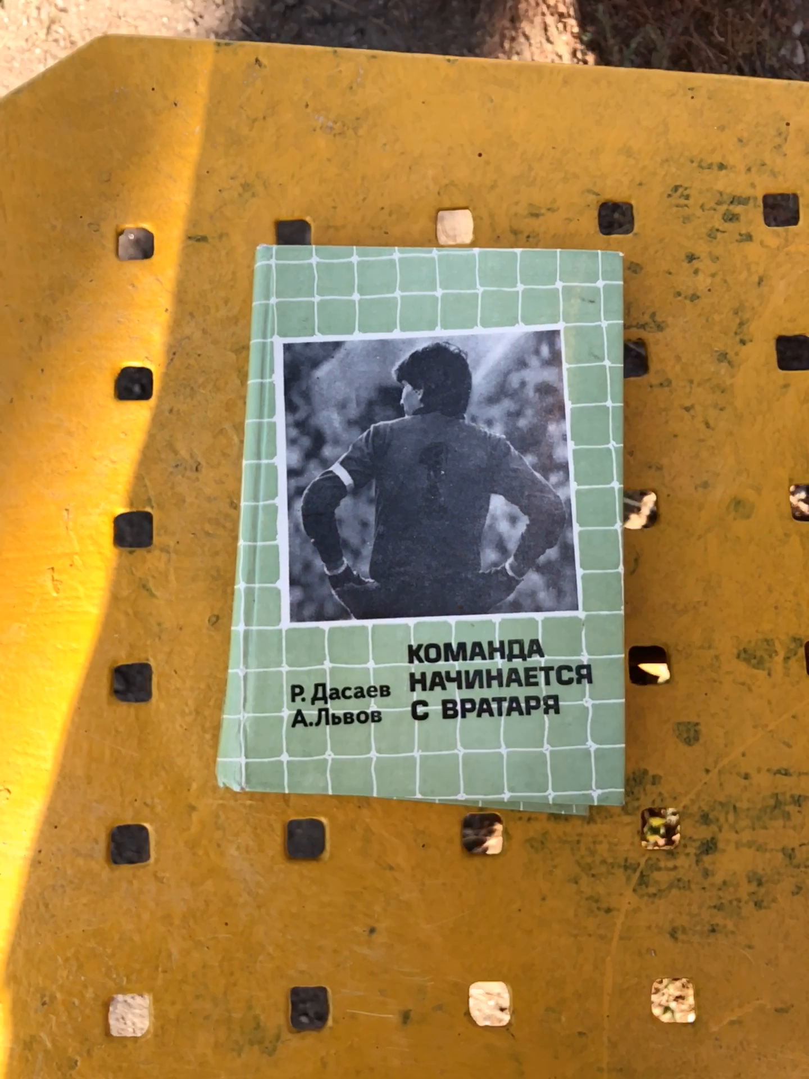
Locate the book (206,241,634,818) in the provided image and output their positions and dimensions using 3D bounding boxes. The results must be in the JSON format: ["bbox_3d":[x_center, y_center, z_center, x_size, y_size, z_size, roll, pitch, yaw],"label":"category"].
[{"bbox_3d":[0.007,-0.005,0.274,0.117,0.030,0.164,2,81,3],"label":"book"}]
